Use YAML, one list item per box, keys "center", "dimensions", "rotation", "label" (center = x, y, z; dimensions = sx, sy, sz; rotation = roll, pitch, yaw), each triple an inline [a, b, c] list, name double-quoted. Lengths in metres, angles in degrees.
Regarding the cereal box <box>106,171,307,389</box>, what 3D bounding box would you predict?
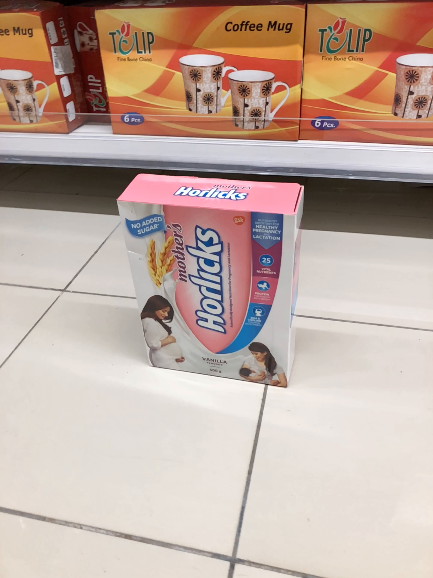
- center: [-0.004, -0.006, 0.455]
  dimensions: [0.160, 0.189, 0.060]
  rotation: [7, 35, 14]
  label: "cereal box"
